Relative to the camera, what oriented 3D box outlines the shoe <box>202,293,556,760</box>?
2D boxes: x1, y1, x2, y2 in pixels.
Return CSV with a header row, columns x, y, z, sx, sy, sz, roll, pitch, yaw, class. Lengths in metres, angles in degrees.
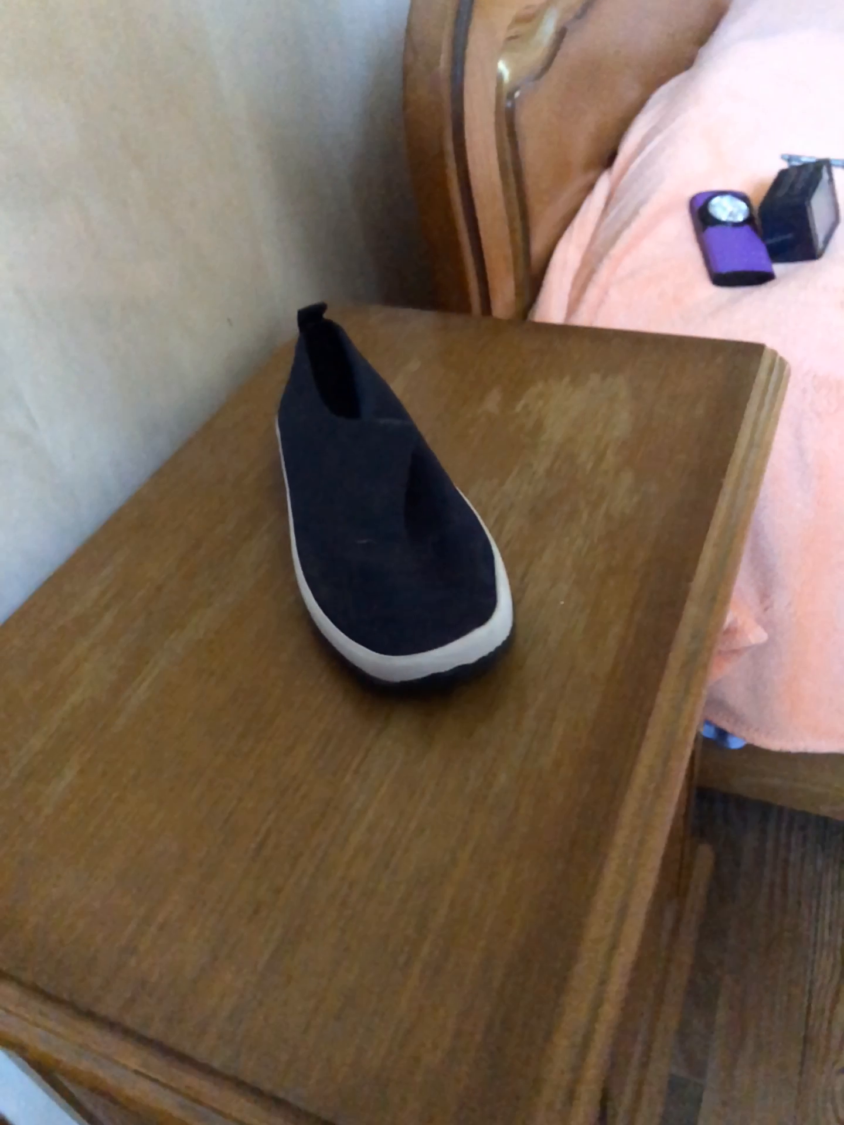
x,y,z,sx,sy,sz,roll,pitch,yaw,class
-0.034,-0.039,0.469,0.100,0.080,0.261,-17,40,-9,shoe
